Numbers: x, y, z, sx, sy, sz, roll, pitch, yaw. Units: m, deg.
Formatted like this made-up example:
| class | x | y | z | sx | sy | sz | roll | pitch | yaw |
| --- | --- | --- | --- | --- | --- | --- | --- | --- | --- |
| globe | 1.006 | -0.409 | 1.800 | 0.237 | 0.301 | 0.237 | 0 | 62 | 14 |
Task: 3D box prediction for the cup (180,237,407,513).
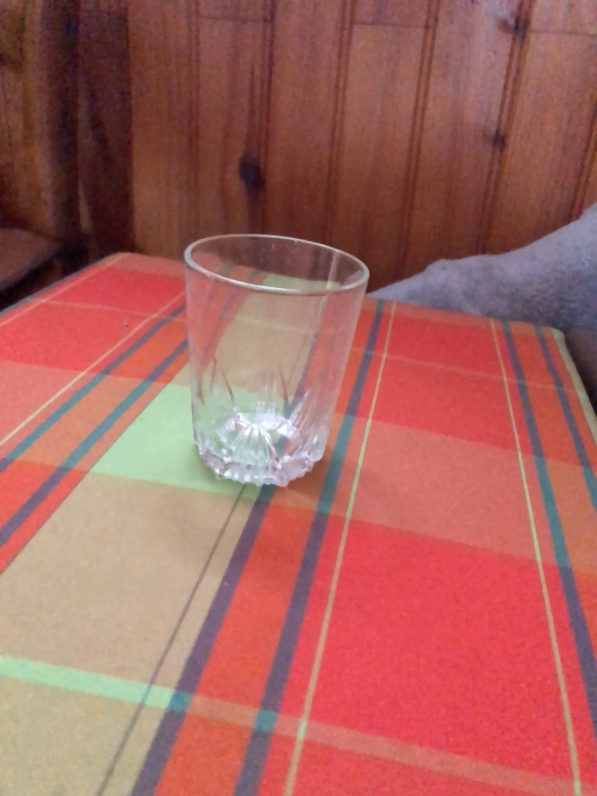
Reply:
| class | x | y | z | sx | sy | sz | roll | pitch | yaw |
| --- | --- | --- | --- | --- | --- | --- | --- | --- | --- |
| cup | -0.008 | -0.012 | 0.252 | 0.070 | 0.080 | 0.070 | 3 | 26 | -2 |
